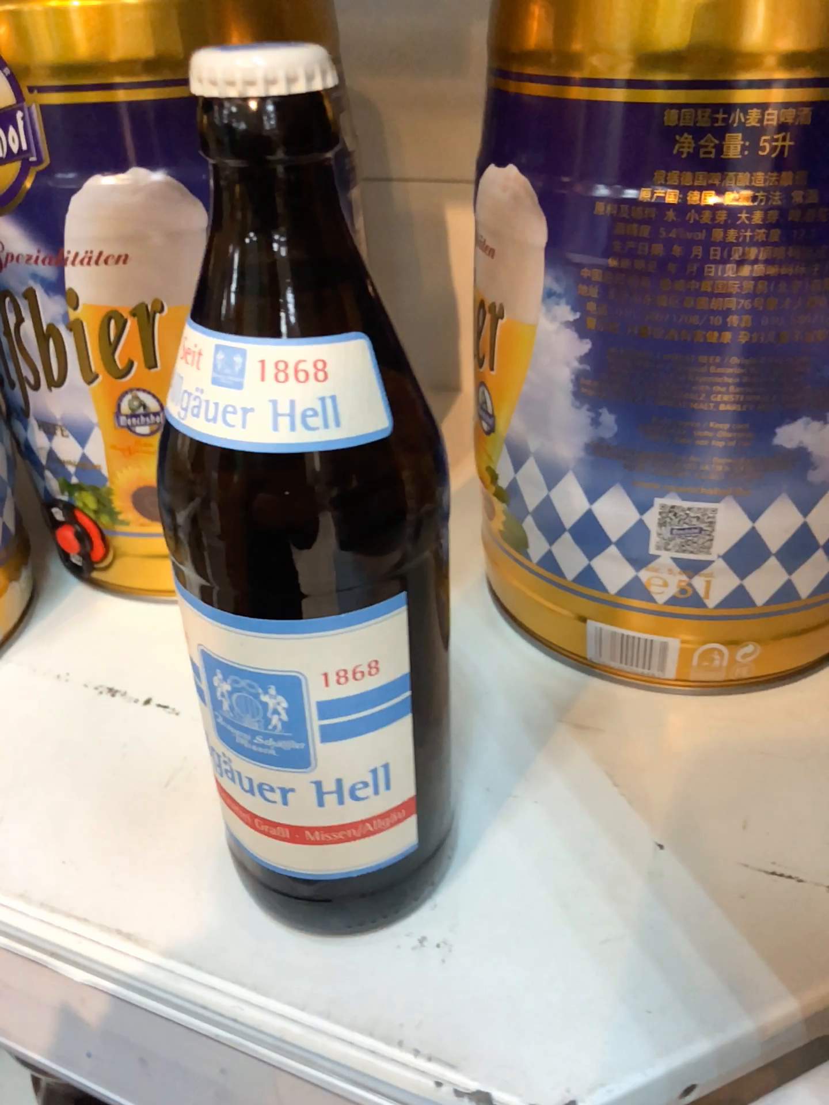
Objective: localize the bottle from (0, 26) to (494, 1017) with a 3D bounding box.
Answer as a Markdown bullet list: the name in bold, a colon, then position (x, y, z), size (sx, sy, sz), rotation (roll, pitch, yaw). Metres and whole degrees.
- **bottle**: position (-0.033, 0.000, 0.227), size (0.080, 0.219, 0.080), rotation (-3, 32, 2)
